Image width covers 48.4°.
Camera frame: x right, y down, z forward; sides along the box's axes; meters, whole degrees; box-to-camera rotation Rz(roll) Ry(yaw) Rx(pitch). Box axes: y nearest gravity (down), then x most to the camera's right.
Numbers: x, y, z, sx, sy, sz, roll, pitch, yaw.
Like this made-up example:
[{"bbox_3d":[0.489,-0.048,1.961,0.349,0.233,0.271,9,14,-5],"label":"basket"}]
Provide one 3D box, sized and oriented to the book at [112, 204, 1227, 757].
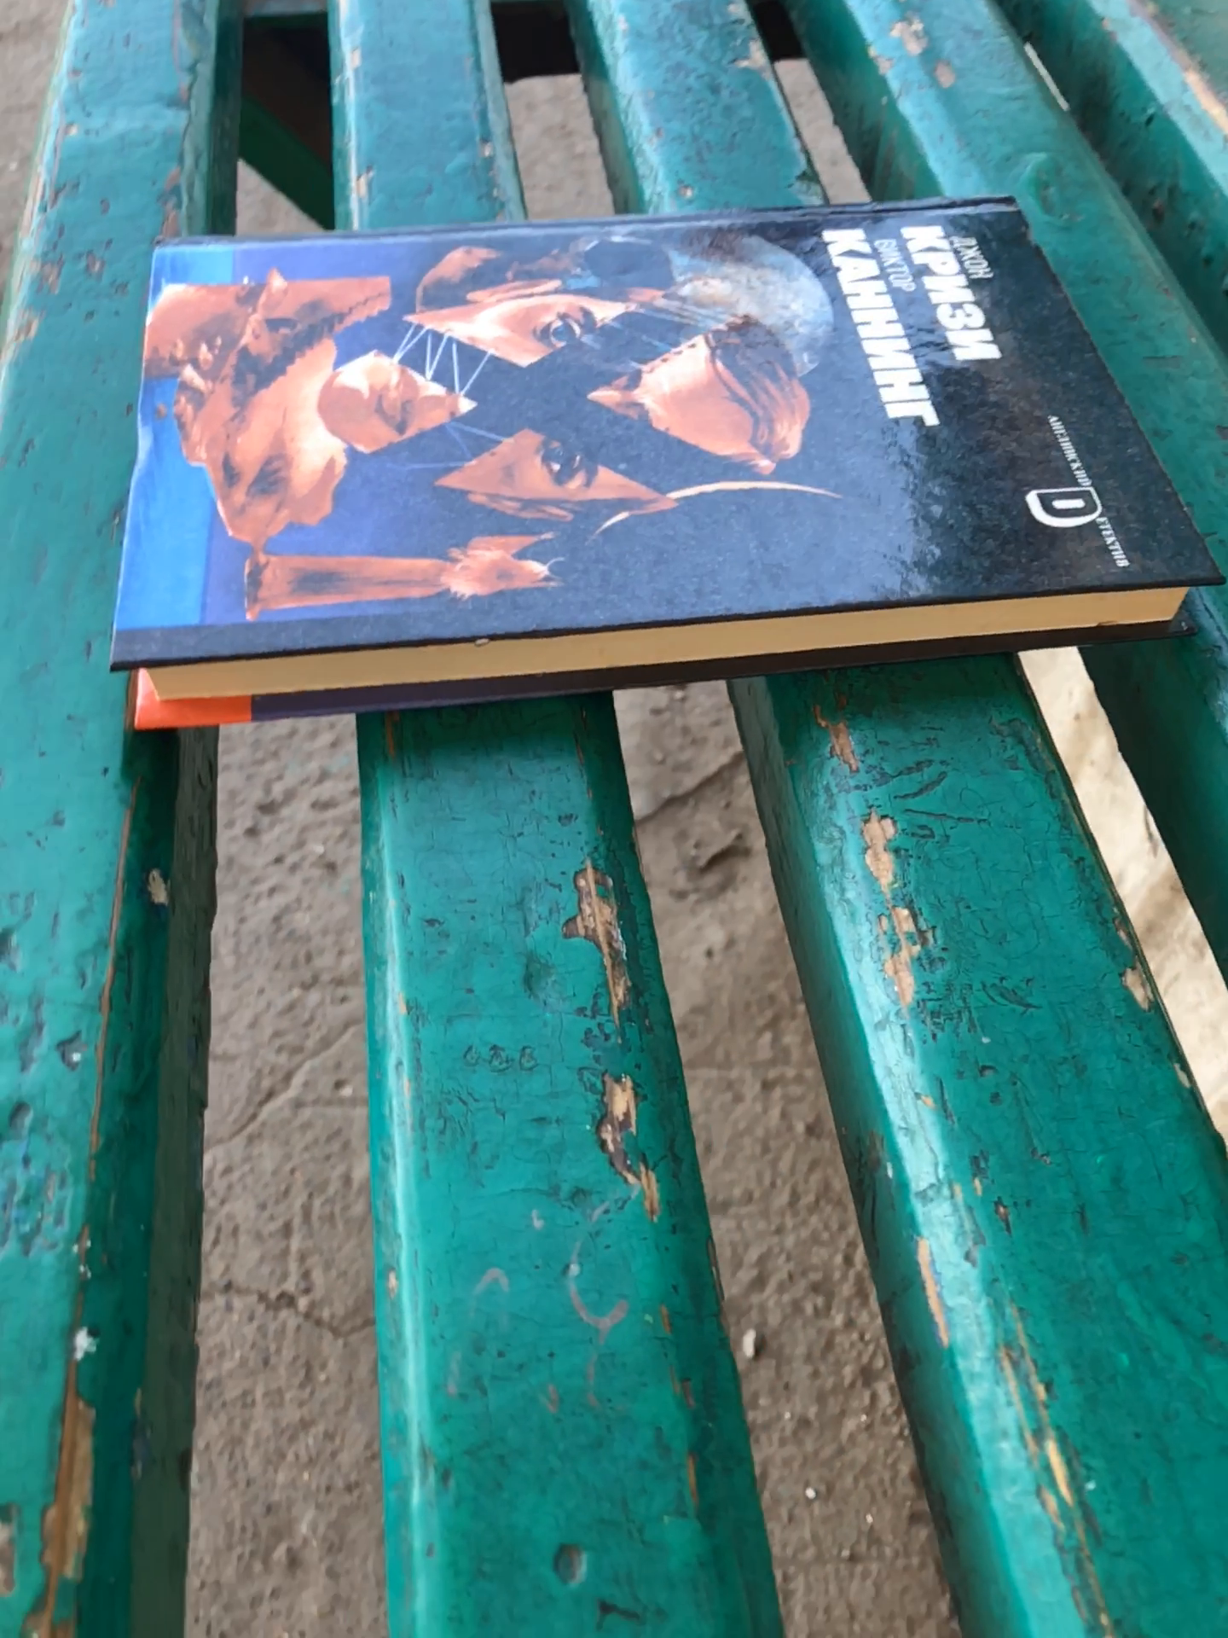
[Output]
[{"bbox_3d":[0.011,-0.080,0.292,0.211,0.020,0.135,-5,54,-5],"label":"book"}]
